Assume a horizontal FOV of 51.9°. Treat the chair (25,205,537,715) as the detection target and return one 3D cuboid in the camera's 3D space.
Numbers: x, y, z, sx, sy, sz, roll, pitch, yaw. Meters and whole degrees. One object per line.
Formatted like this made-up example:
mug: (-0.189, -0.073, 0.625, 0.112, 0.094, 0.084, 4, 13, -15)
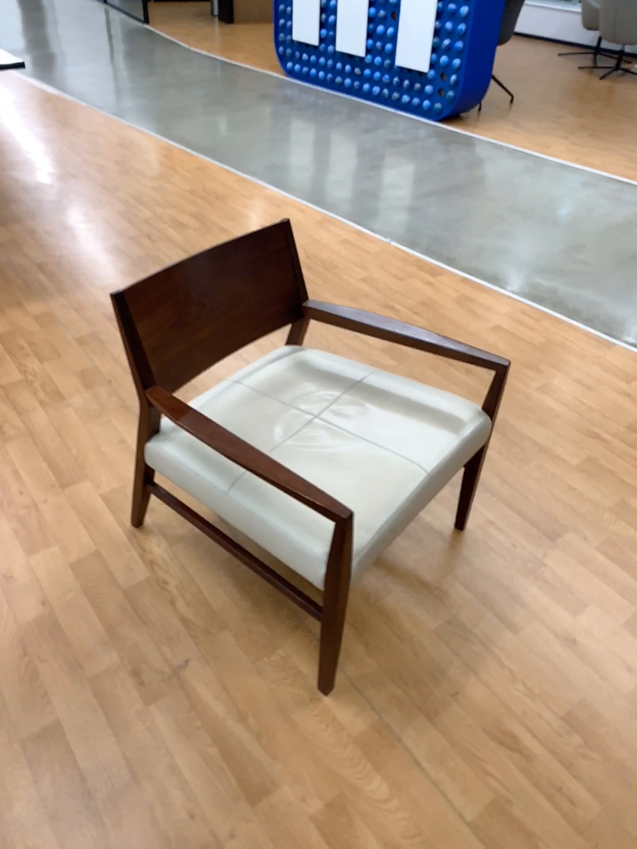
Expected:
chair: (-0.063, 0.007, 1.445, 0.712, 0.635, 0.674, 27, 44, 27)
